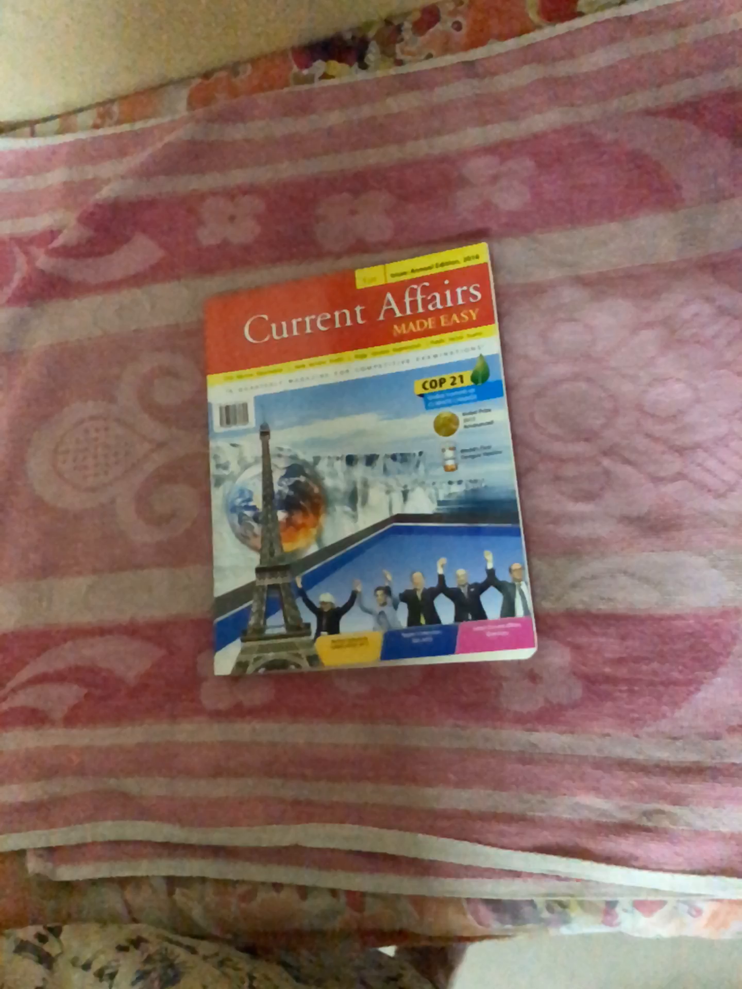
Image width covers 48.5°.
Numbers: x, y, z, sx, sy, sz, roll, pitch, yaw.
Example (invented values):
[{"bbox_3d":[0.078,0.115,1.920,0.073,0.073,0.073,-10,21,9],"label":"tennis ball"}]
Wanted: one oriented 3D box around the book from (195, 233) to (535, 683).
[{"bbox_3d":[-0.013,-0.023,0.535,0.205,0.025,0.270,-7,76,14],"label":"book"}]
